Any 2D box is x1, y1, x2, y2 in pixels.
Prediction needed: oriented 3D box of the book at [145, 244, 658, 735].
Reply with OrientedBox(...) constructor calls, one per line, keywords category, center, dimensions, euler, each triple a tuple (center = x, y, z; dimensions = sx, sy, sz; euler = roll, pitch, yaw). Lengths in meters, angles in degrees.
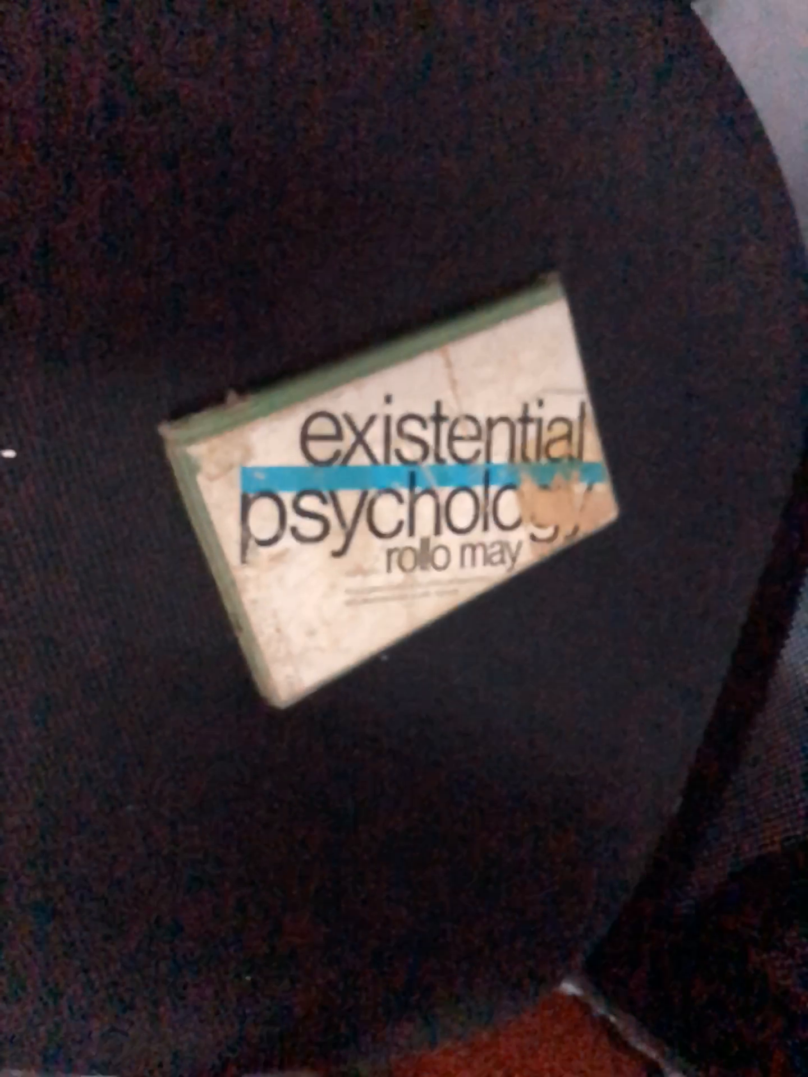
OrientedBox(category="book", center=(0.015, -0.027, 0.365), dimensions=(0.201, 0.020, 0.126), euler=(-28, 113, -26))
